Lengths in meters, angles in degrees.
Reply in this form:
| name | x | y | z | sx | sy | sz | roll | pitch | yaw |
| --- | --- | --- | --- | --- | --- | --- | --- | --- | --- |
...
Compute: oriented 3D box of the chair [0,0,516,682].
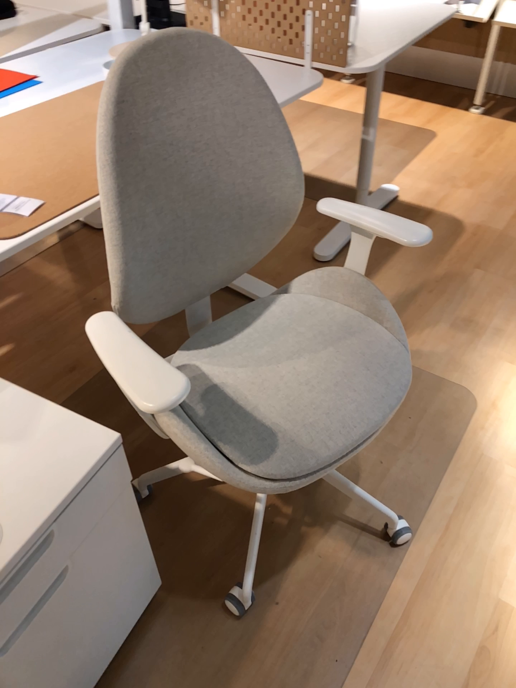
| name | x | y | z | sx | sy | sz | roll | pitch | yaw |
| --- | --- | --- | --- | --- | --- | --- | --- | --- | --- |
| chair | 0.037 | -0.037 | 1.083 | 0.652 | 0.914 | 0.703 | -32 | 51 | -30 |
